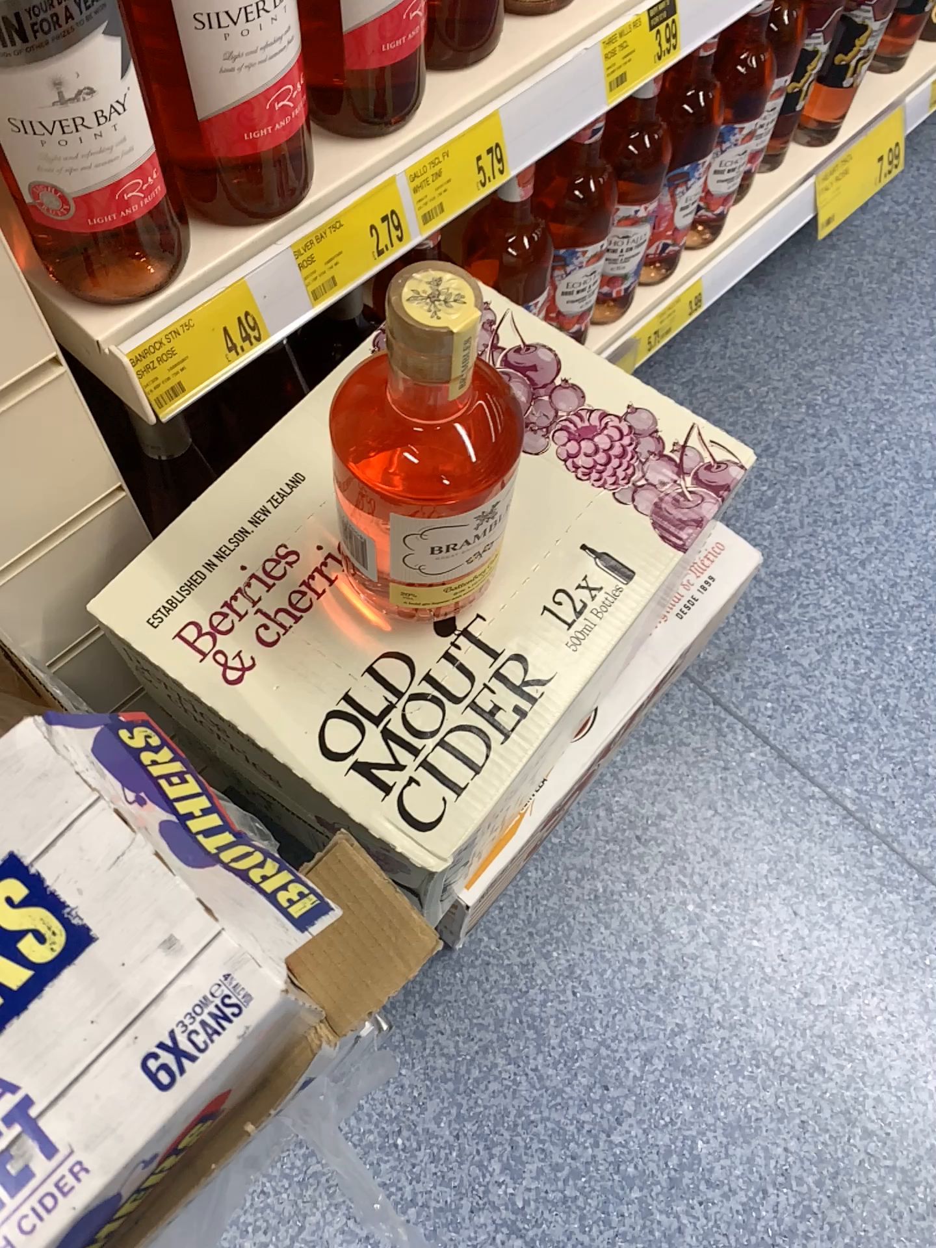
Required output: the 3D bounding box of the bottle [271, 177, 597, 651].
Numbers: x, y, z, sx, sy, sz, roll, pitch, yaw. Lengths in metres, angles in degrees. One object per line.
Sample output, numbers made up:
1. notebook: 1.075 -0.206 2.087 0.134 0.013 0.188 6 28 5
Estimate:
1. bottle: -0.015 -0.073 0.397 0.077 0.176 0.076 1 65 -2
